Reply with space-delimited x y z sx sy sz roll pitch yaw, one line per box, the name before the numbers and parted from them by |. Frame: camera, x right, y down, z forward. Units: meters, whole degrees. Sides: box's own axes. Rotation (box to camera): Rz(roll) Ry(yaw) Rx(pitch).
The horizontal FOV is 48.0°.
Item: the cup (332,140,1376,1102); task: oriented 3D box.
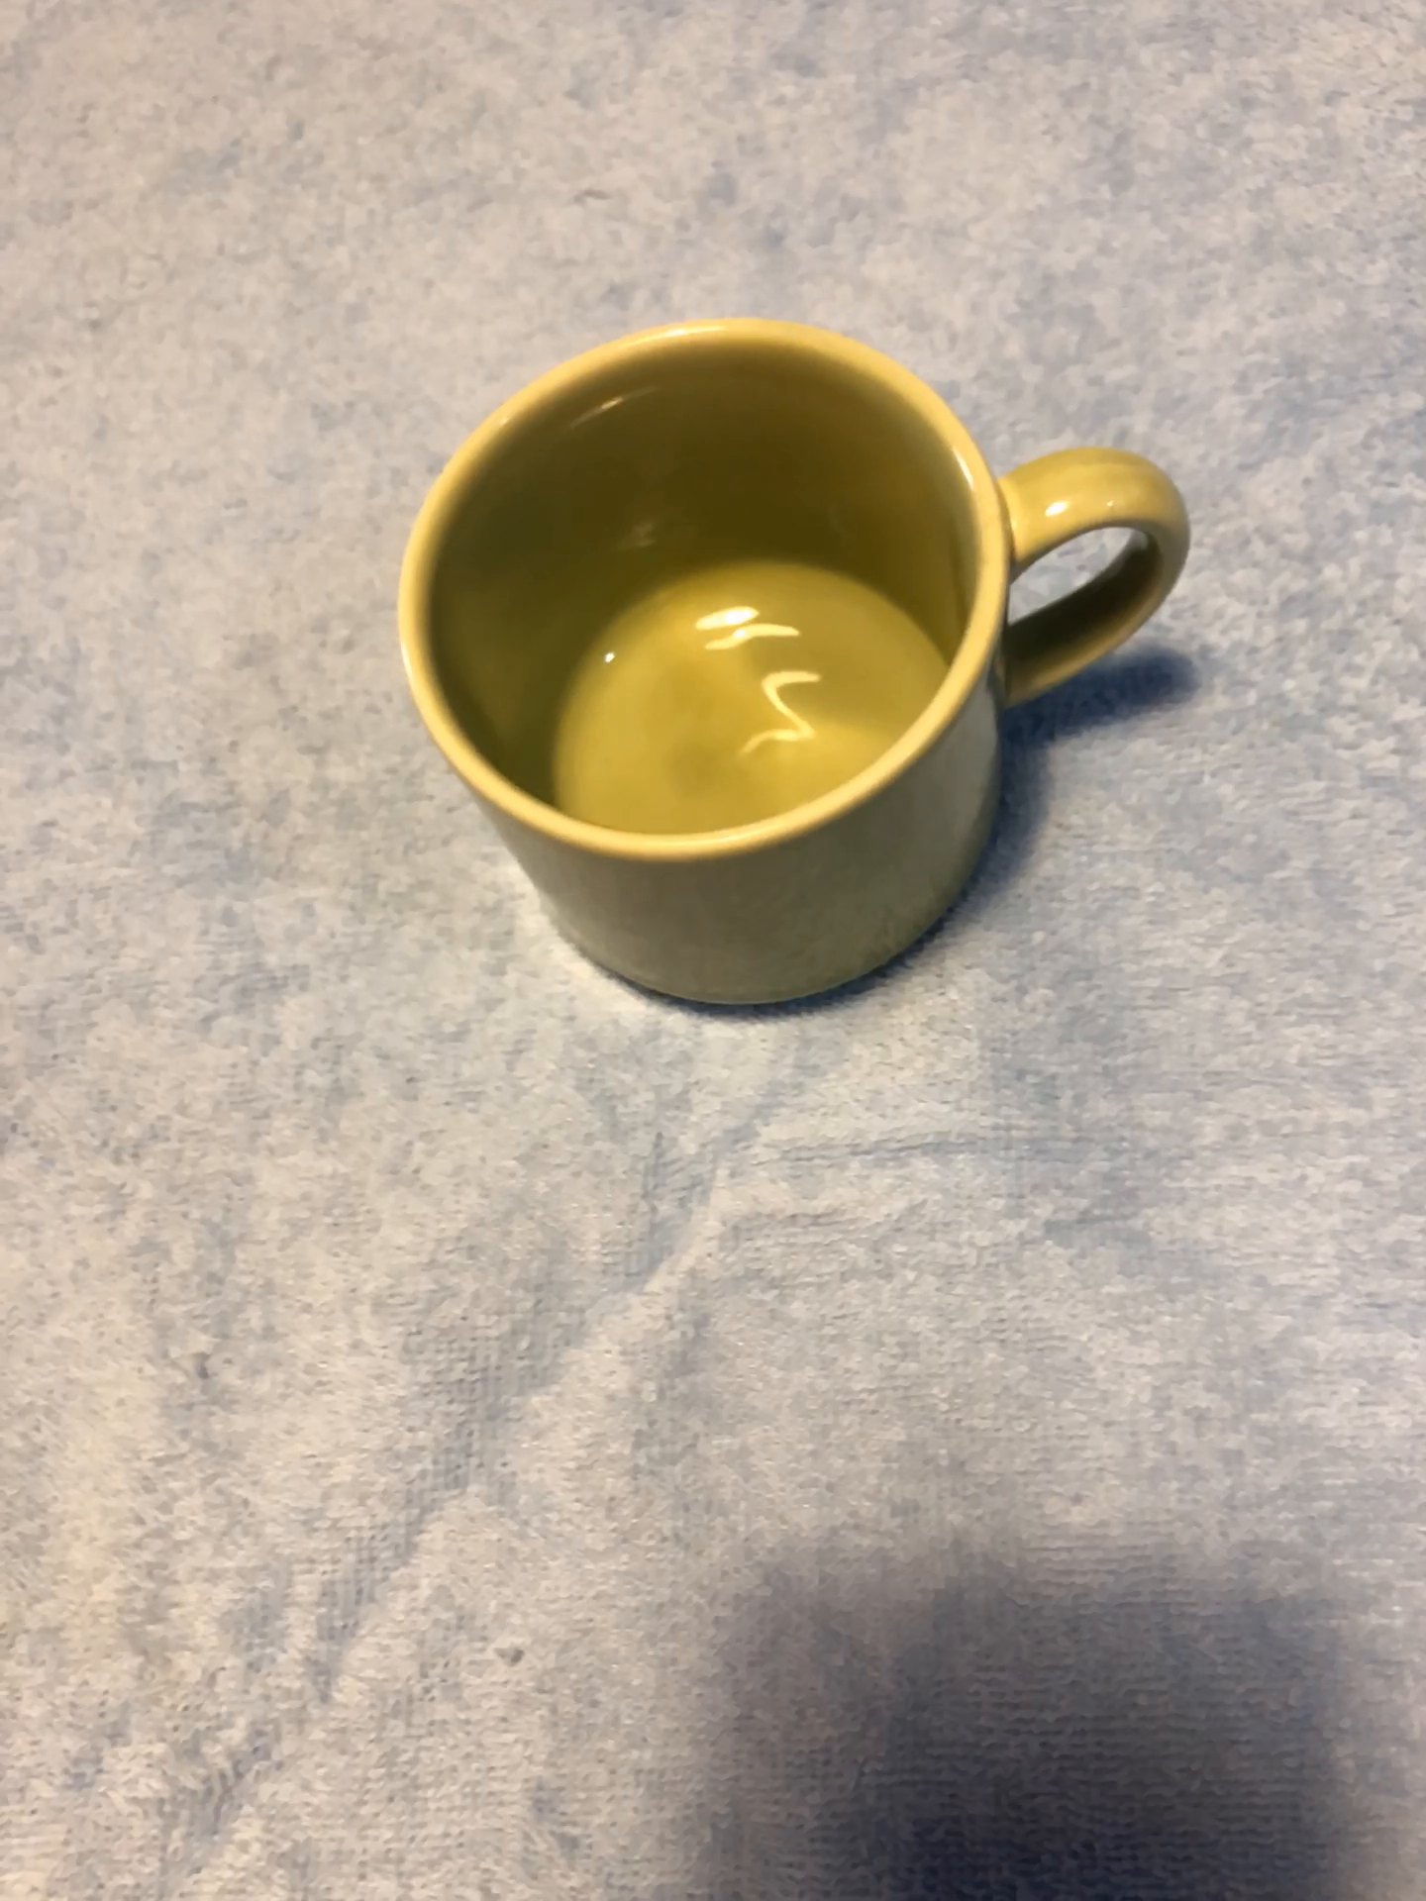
cup | 0.016 -0.044 0.231 0.110 0.060 0.090 -17 68 1
